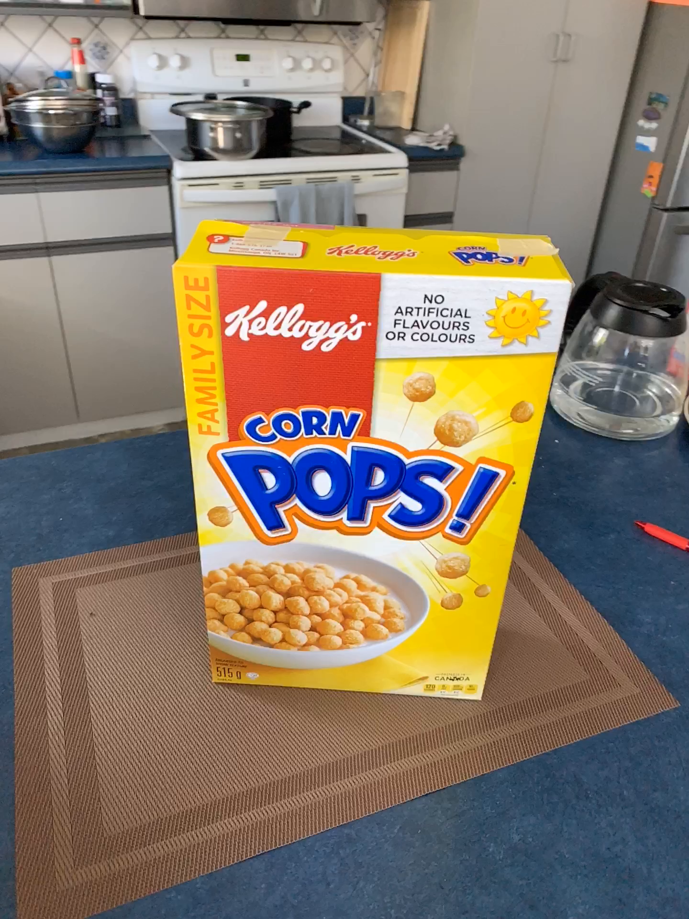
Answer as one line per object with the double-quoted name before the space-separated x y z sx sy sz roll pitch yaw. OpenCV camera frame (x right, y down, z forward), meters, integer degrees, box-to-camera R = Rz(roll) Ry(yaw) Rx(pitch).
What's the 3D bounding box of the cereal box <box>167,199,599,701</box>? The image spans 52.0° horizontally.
"cereal box" 0.014 0.009 0.466 0.210 0.317 0.091 4 32 1
